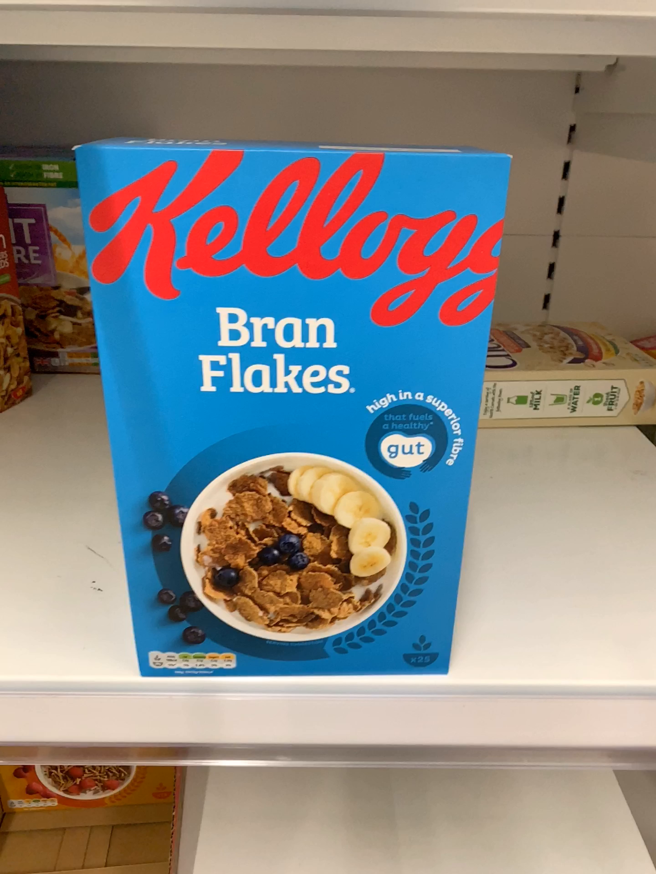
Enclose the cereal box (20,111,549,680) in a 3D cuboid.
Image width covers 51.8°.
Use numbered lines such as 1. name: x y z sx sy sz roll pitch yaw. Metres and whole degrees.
1. cereal box: -0.020 -0.013 0.373 0.210 0.297 0.091 0 25 -2
